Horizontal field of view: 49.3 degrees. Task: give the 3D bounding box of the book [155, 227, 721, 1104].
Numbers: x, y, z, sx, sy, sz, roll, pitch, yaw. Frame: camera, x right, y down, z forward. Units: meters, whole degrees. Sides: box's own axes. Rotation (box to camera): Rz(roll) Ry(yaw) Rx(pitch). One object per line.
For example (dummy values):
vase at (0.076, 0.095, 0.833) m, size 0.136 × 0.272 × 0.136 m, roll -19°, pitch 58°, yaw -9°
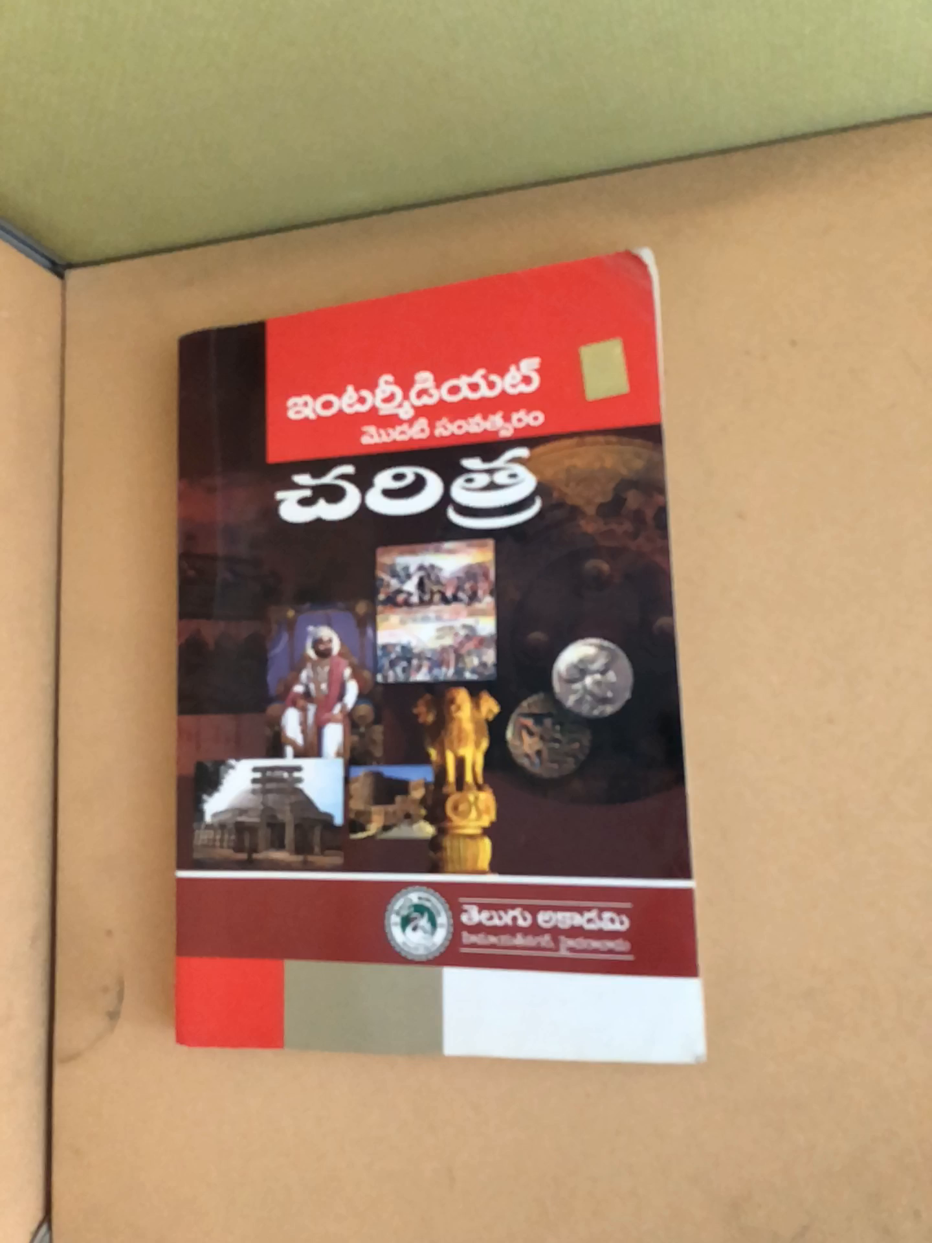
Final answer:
book at (-0.019, 0.015, 0.377) m, size 0.200 × 0.030 × 0.290 m, roll -4°, pitch 82°, yaw 16°
